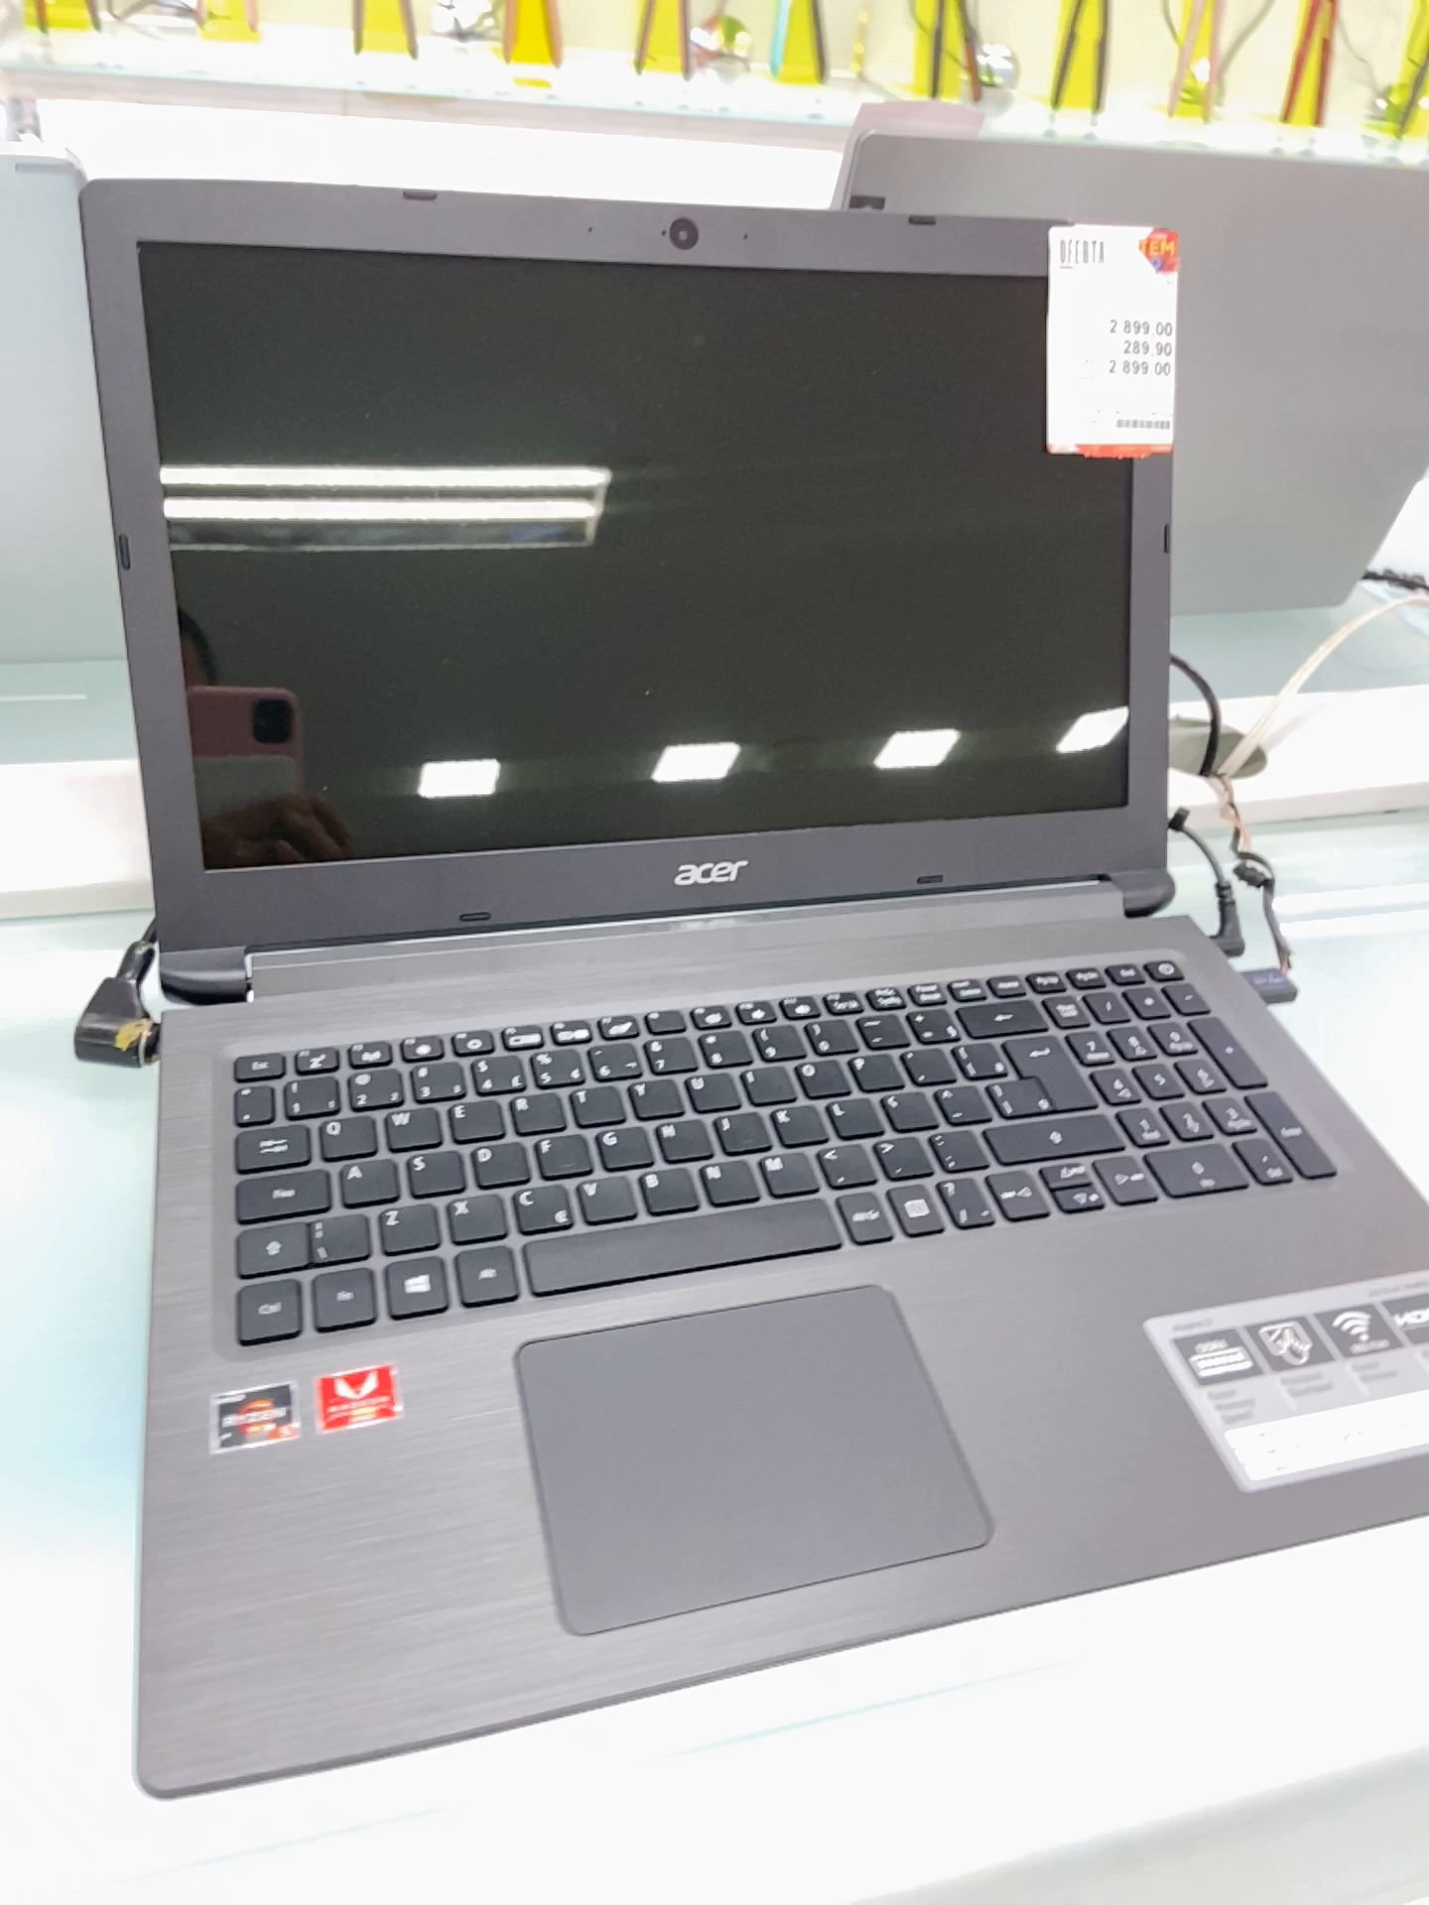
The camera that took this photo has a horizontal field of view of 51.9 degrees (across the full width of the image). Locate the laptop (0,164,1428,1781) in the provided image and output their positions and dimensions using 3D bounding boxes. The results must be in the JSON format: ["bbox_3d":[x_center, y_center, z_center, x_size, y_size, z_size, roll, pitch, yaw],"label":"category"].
[{"bbox_3d":[0.020,-0.051,0.385,0.341,0.194,0.354,-5,40,-15],"label":"laptop"}]
